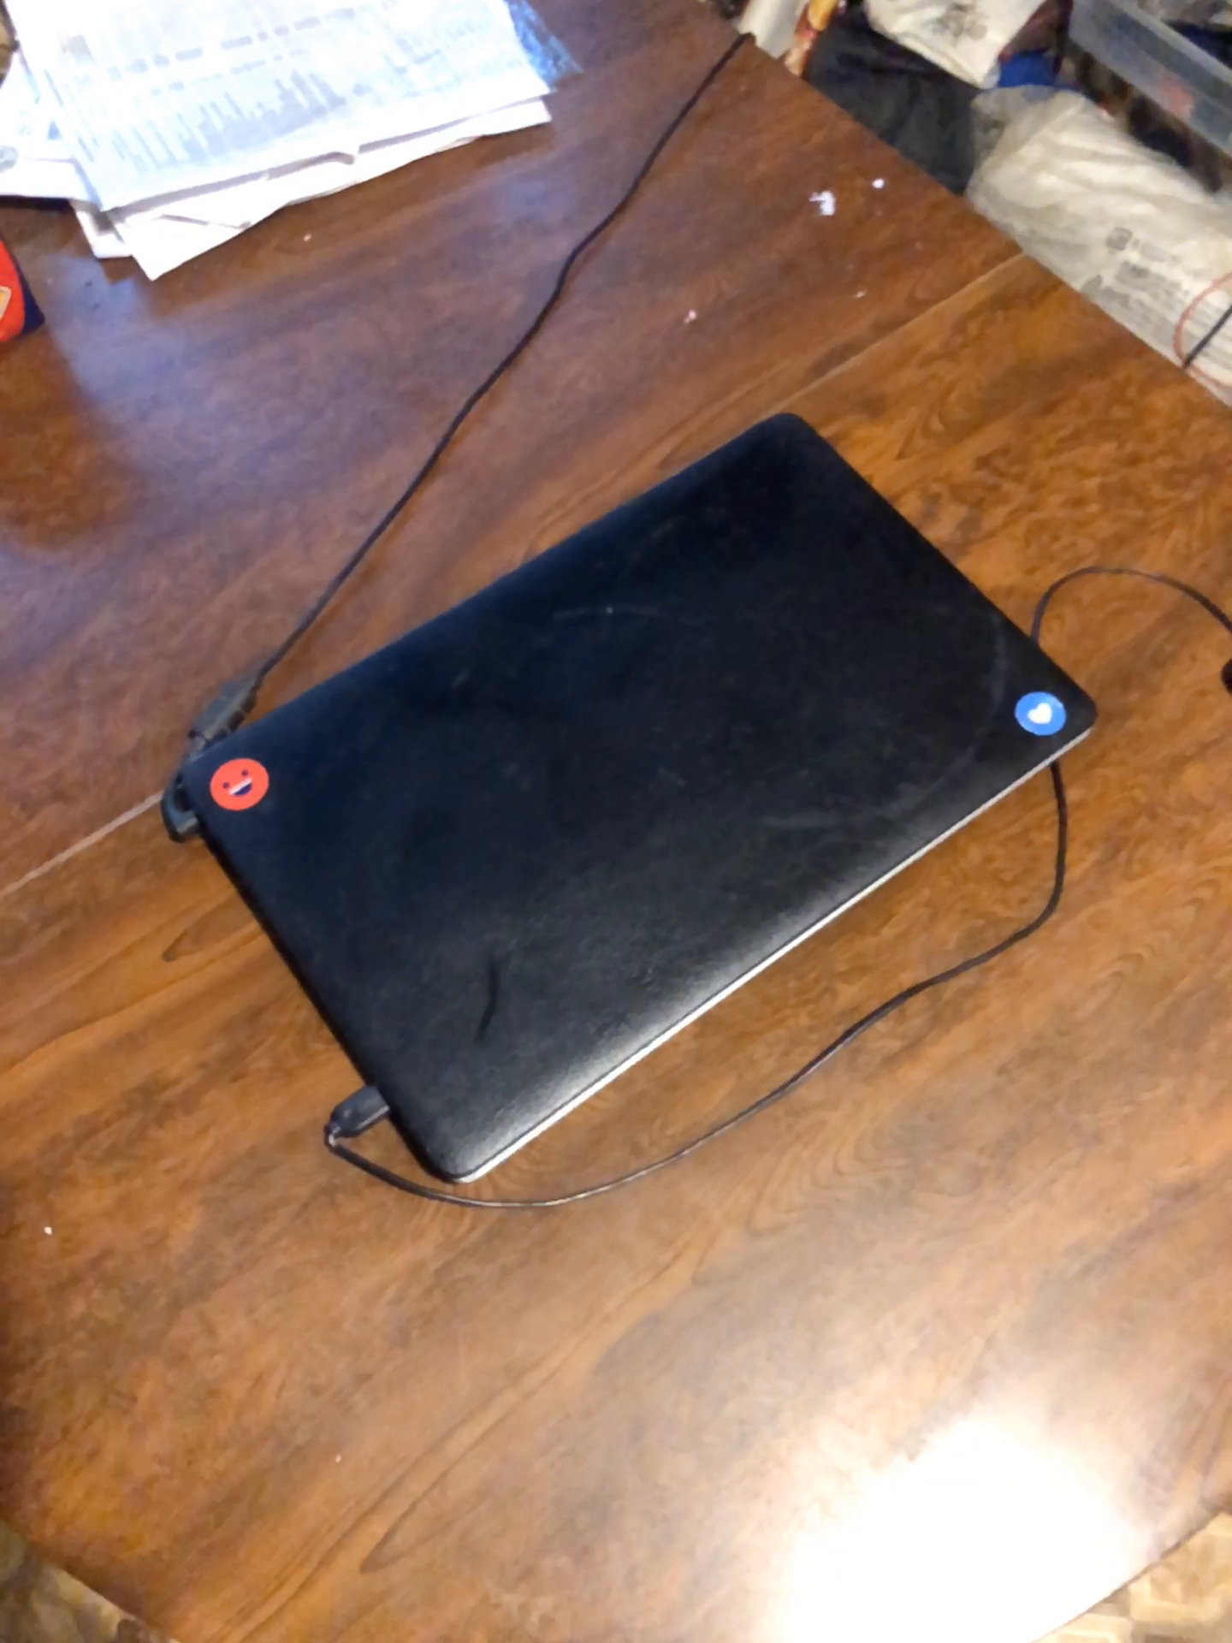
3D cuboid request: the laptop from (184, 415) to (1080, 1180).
[{"bbox_3d":[0.011,-0.037,0.658,0.366,0.007,0.239,-33,69,-16],"label":"laptop"}]
